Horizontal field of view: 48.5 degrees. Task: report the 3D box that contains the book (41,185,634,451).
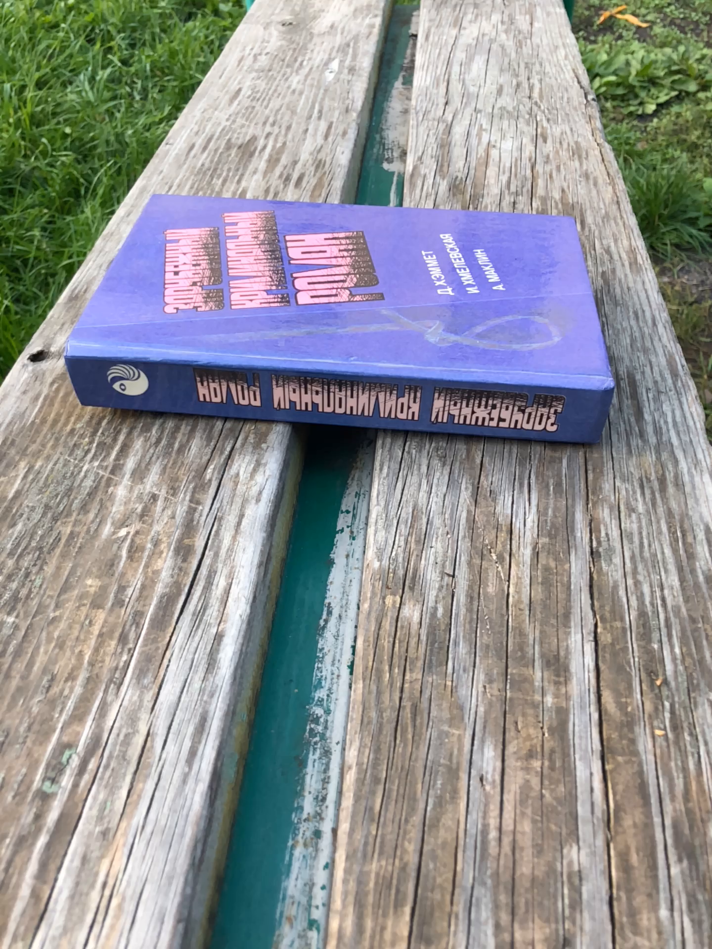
[{"bbox_3d":[-0.003,-0.072,0.328,0.204,0.030,0.131,4,45,2],"label":"book"}]
